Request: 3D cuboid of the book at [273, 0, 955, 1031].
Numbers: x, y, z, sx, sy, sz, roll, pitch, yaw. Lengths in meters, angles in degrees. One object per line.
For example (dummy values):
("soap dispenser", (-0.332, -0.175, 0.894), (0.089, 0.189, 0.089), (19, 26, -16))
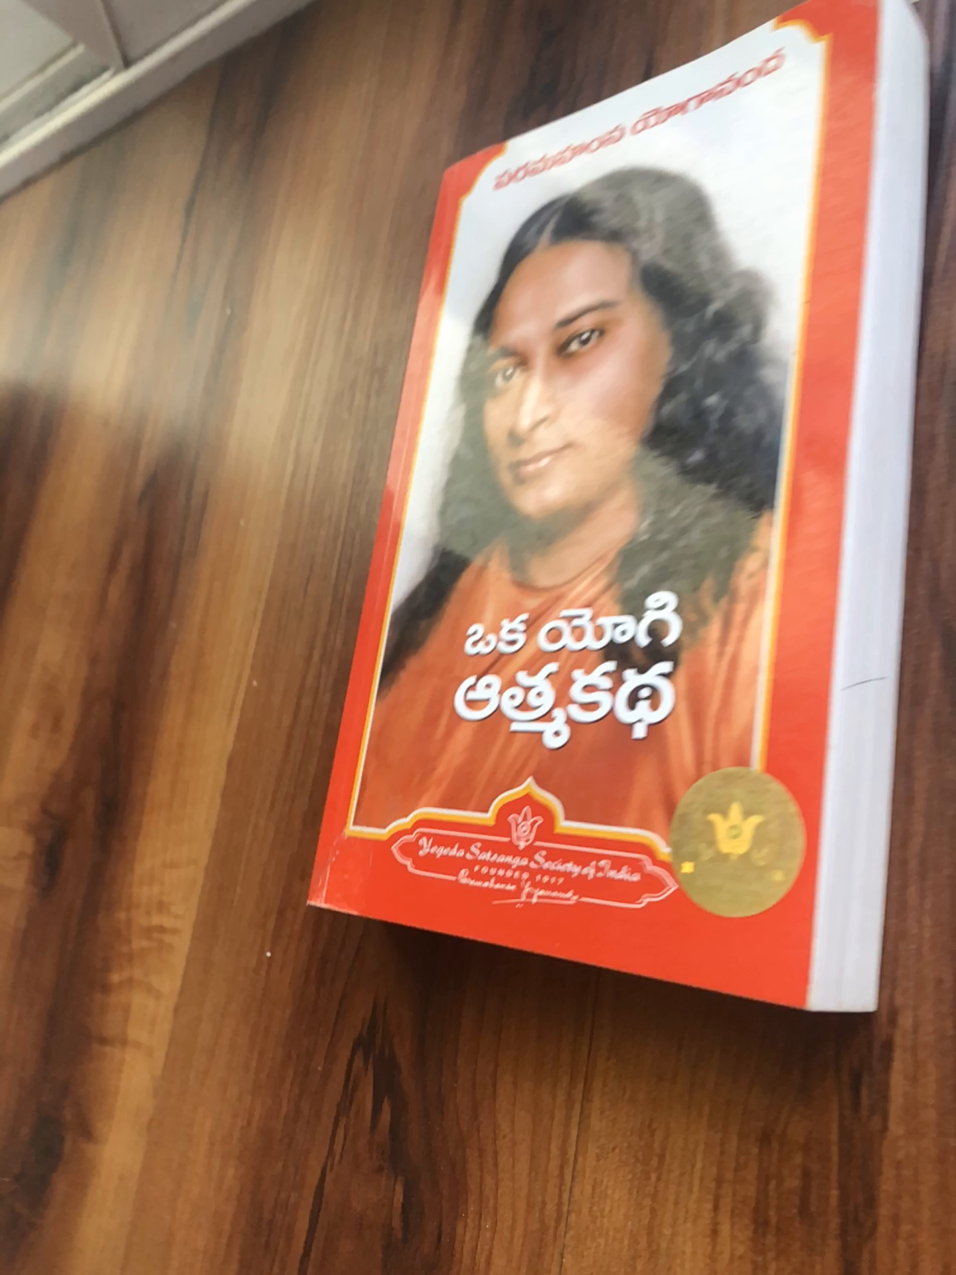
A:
("book", (0.030, -0.036, 0.249), (0.148, 0.030, 0.214), (-2, 73, 43))
